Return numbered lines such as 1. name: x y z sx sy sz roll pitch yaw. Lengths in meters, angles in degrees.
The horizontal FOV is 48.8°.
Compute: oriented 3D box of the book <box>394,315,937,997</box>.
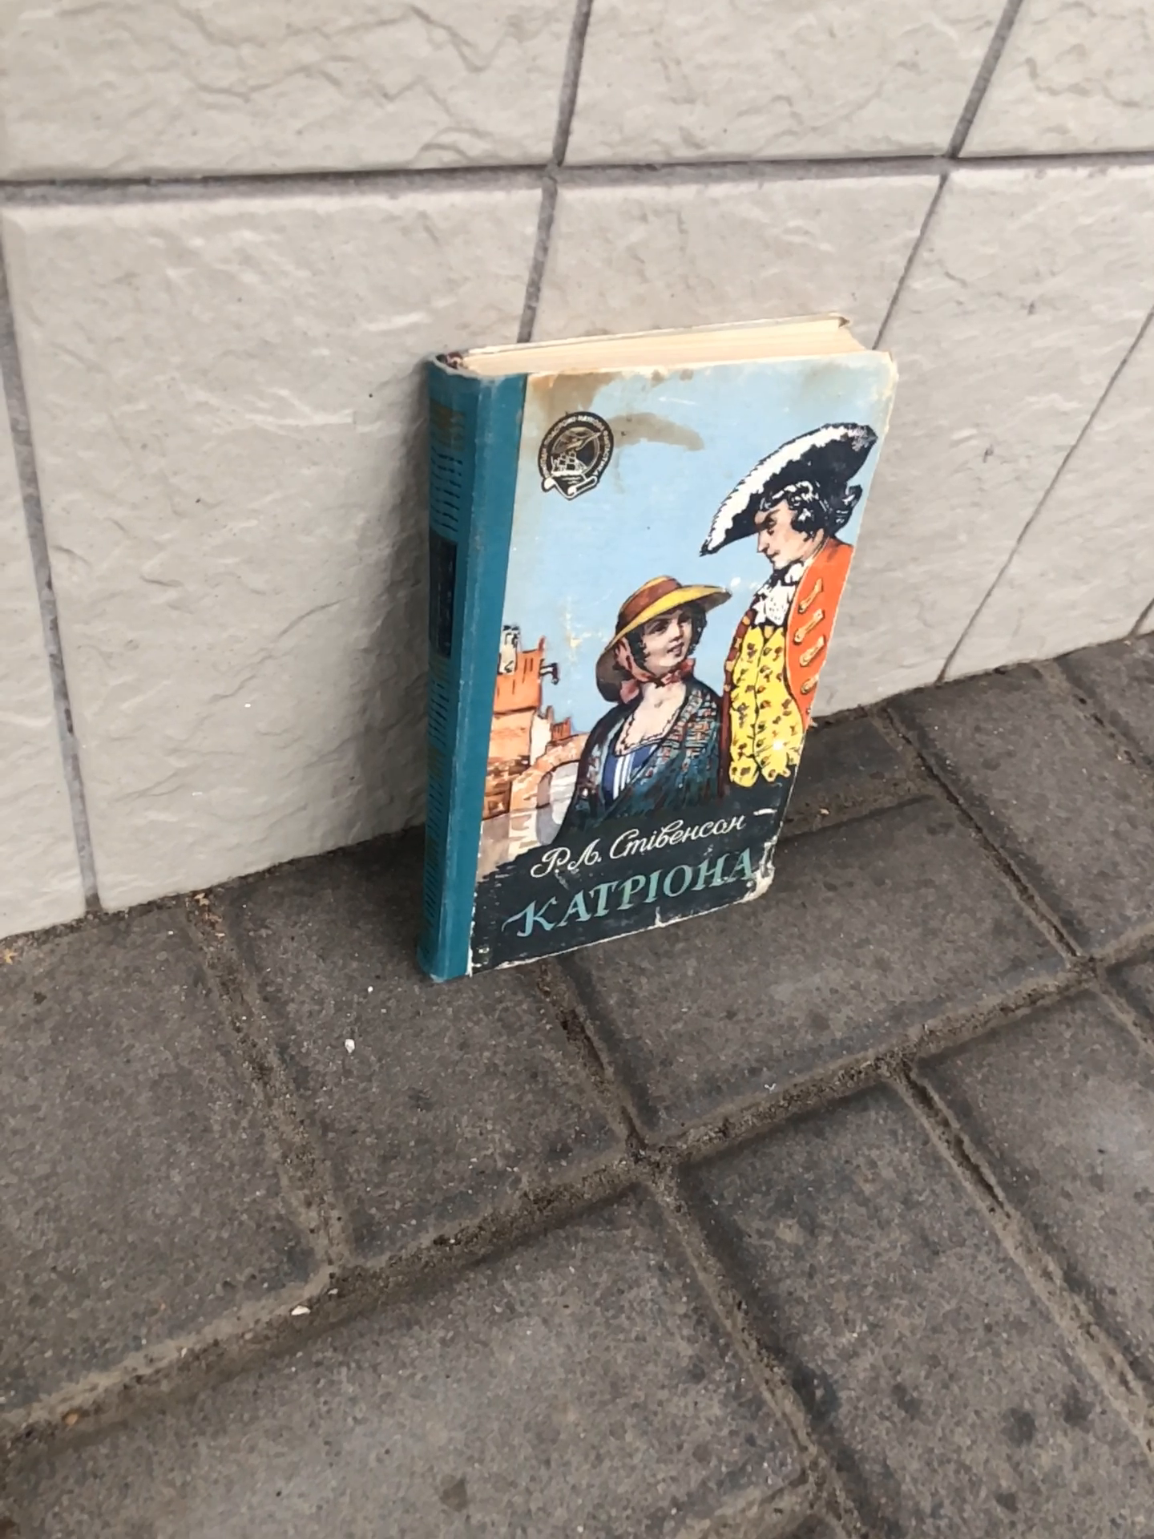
1. book: 0.017 -0.028 0.368 0.134 0.189 0.030 -12 40 -24
